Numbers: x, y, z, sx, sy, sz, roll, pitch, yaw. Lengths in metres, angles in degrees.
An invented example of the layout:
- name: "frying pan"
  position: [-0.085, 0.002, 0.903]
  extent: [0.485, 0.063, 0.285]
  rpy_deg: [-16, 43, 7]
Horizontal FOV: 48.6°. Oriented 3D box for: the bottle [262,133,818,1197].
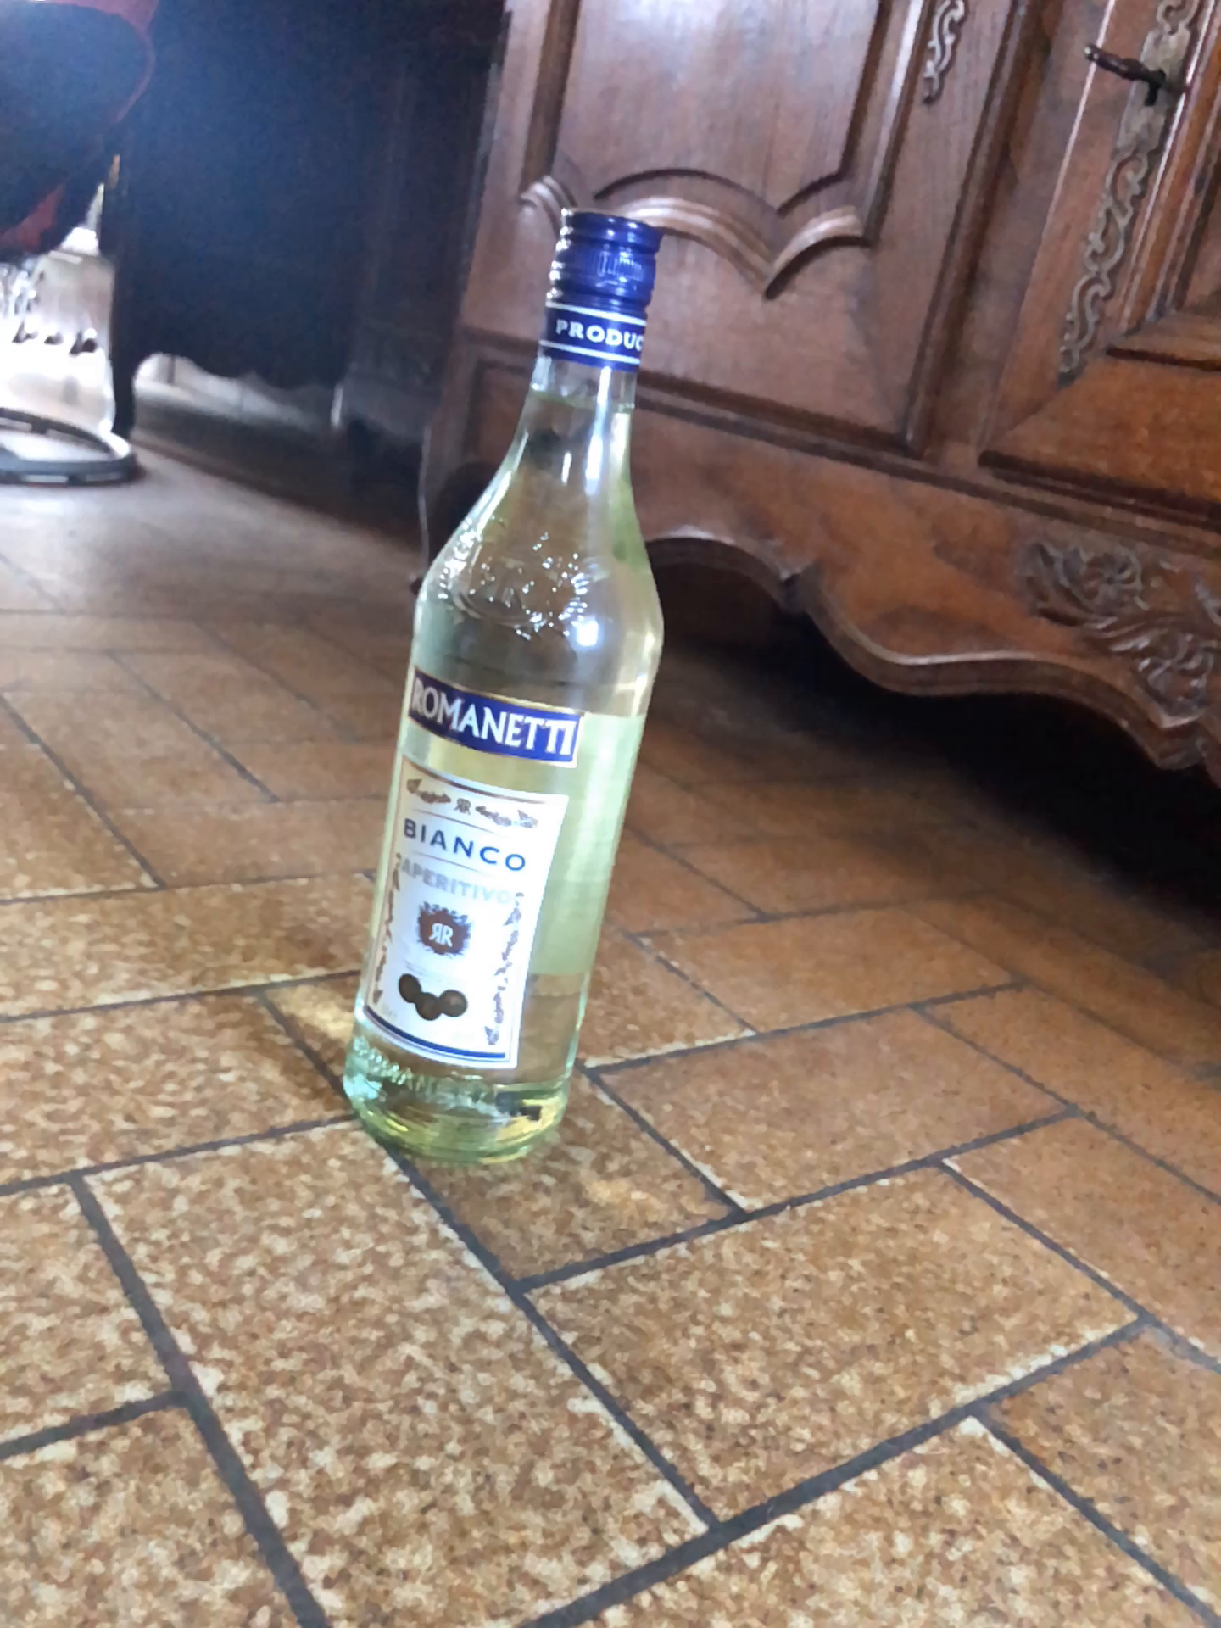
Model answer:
- name: "bottle"
  position: [-0.026, -0.043, 0.445]
  extent: [0.100, 0.299, 0.101]
  rpy_deg: [11, 18, -3]
